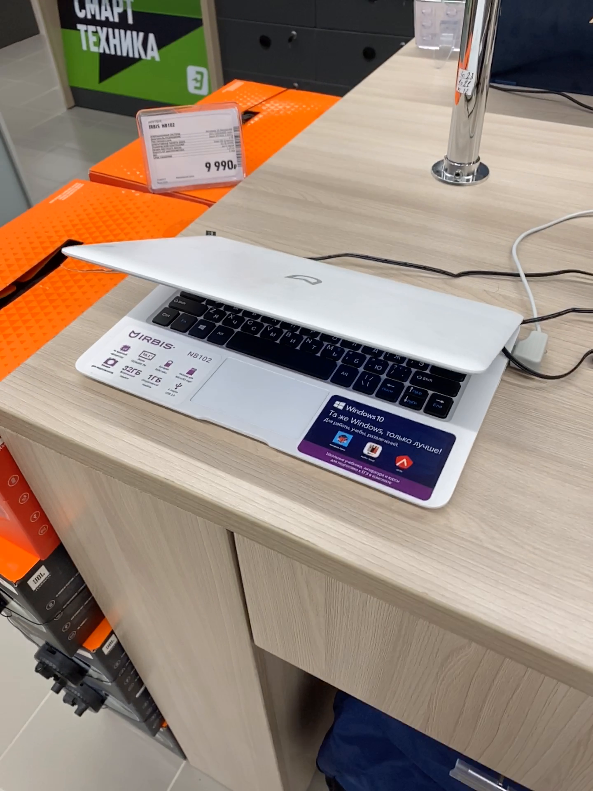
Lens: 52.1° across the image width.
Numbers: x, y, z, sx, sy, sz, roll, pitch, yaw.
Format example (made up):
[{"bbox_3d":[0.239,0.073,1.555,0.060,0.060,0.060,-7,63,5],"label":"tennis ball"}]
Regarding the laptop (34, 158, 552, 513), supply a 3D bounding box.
[{"bbox_3d":[0.000,-0.063,0.413,0.280,0.078,0.178,19,50,21],"label":"laptop"}]
